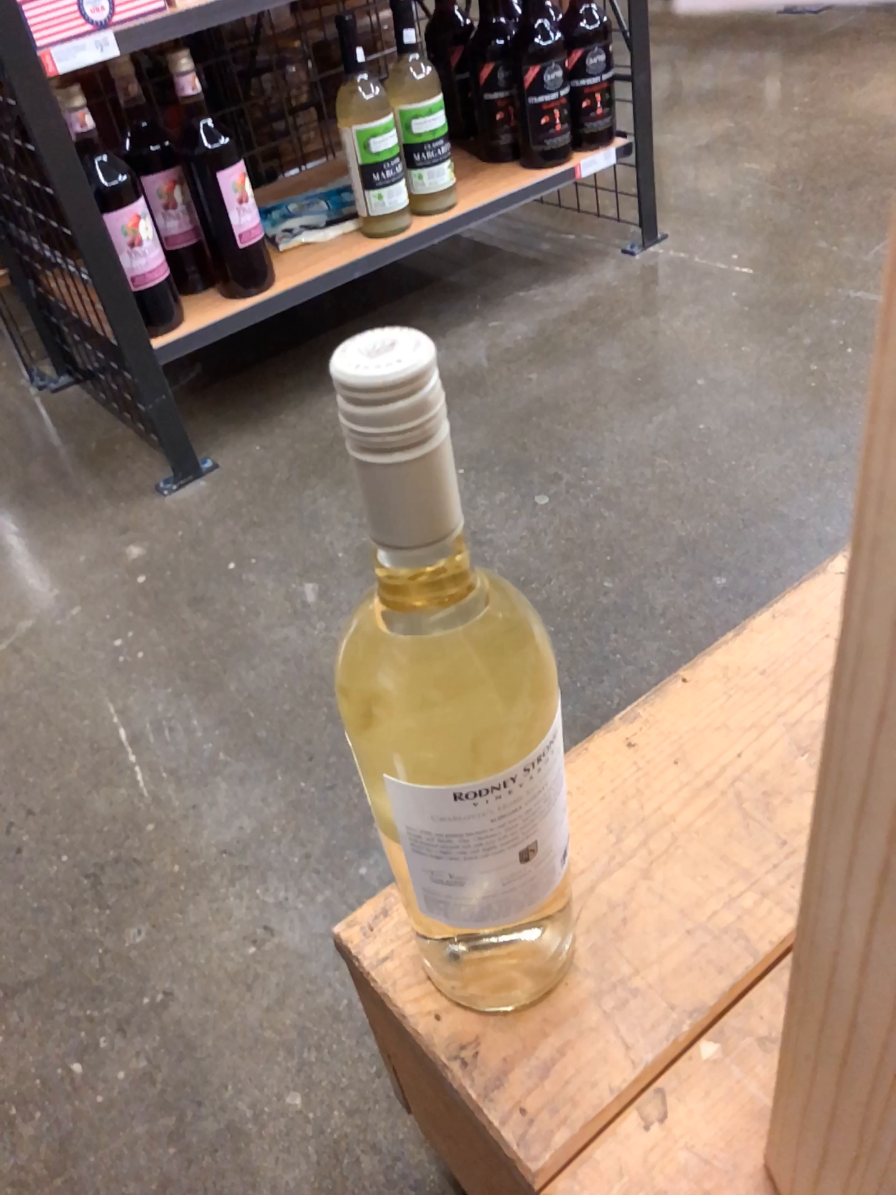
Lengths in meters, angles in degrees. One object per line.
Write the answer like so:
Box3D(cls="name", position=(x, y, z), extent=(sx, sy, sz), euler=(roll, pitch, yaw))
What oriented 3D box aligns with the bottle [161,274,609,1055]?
Box3D(cls="bottle", position=(-0.005, 0.044, 0.351), extent=(0.073, 0.283, 0.079), euler=(-7, 40, 6))
